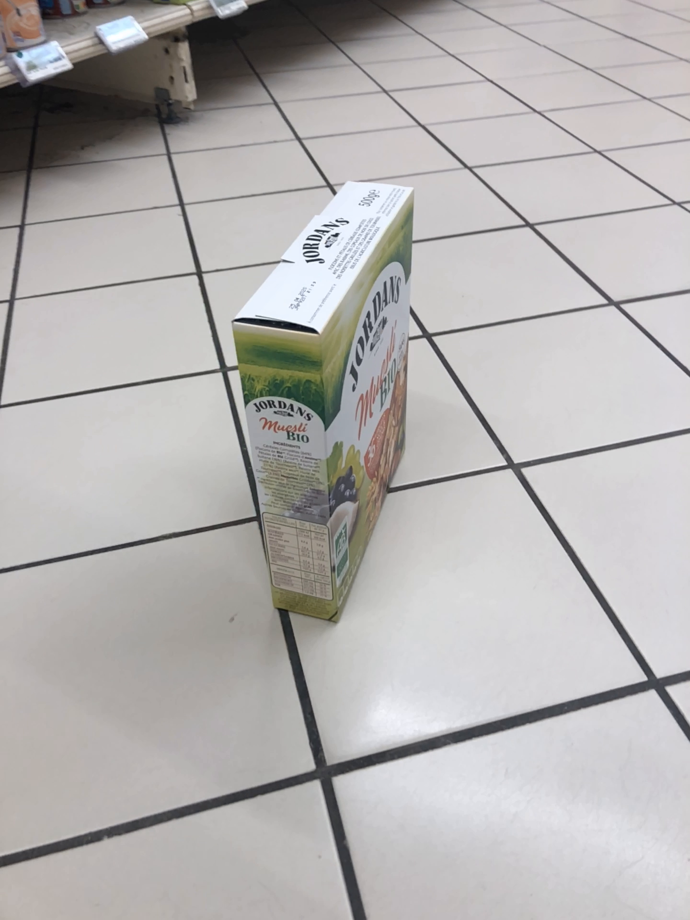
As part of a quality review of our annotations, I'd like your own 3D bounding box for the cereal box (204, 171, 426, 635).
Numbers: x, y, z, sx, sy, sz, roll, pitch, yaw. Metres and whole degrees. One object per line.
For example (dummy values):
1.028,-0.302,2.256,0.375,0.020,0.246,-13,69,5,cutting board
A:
-0.004,-0.038,0.469,0.060,0.209,0.191,10,41,14,cereal box
